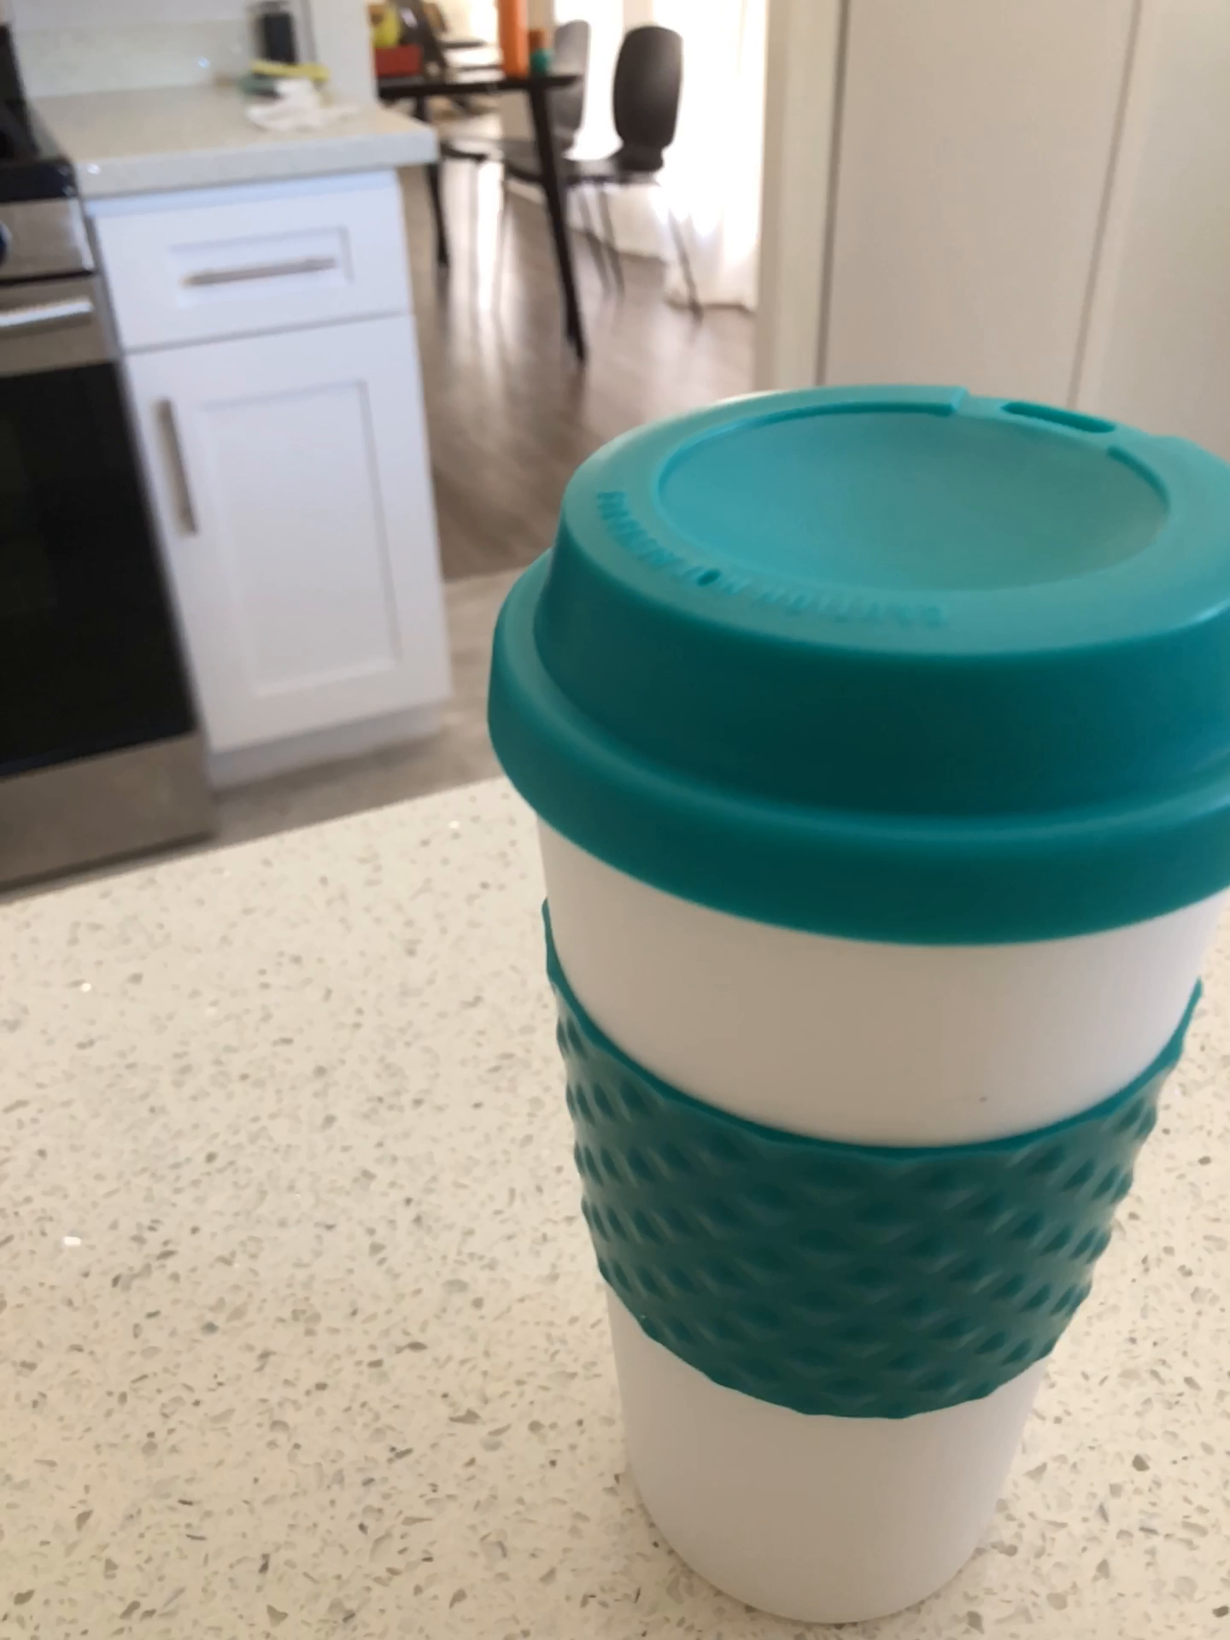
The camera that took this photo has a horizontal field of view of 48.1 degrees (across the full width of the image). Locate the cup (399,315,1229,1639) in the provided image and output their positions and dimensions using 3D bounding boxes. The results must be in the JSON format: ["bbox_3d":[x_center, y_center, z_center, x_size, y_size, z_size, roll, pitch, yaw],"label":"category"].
[{"bbox_3d":[0.033,0.032,0.194,0.100,0.169,0.100,-1,33,1],"label":"cup"}]
